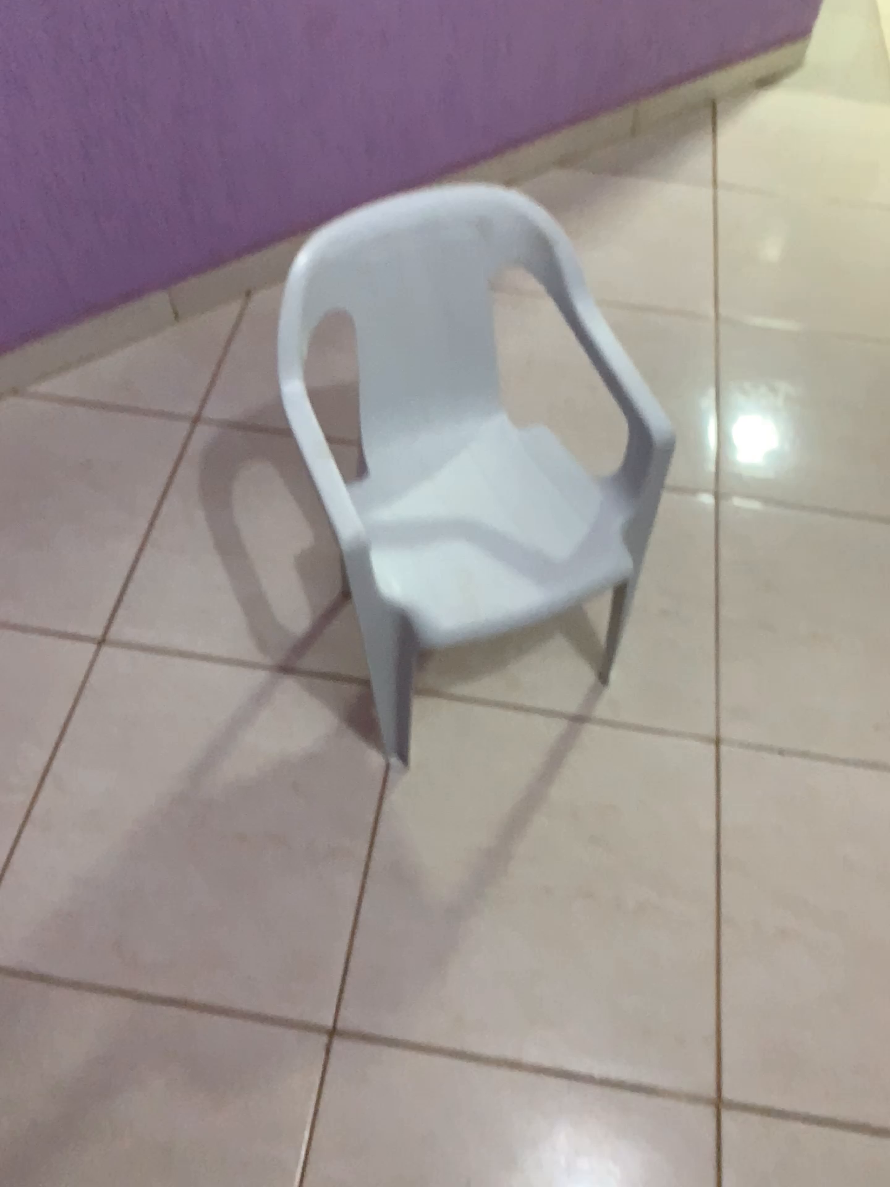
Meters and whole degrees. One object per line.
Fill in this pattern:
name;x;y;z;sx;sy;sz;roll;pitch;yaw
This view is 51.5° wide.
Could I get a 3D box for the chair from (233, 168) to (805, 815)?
chair;0.048;-0.083;1.092;0.401;0.596;0.362;-22;60;-16
